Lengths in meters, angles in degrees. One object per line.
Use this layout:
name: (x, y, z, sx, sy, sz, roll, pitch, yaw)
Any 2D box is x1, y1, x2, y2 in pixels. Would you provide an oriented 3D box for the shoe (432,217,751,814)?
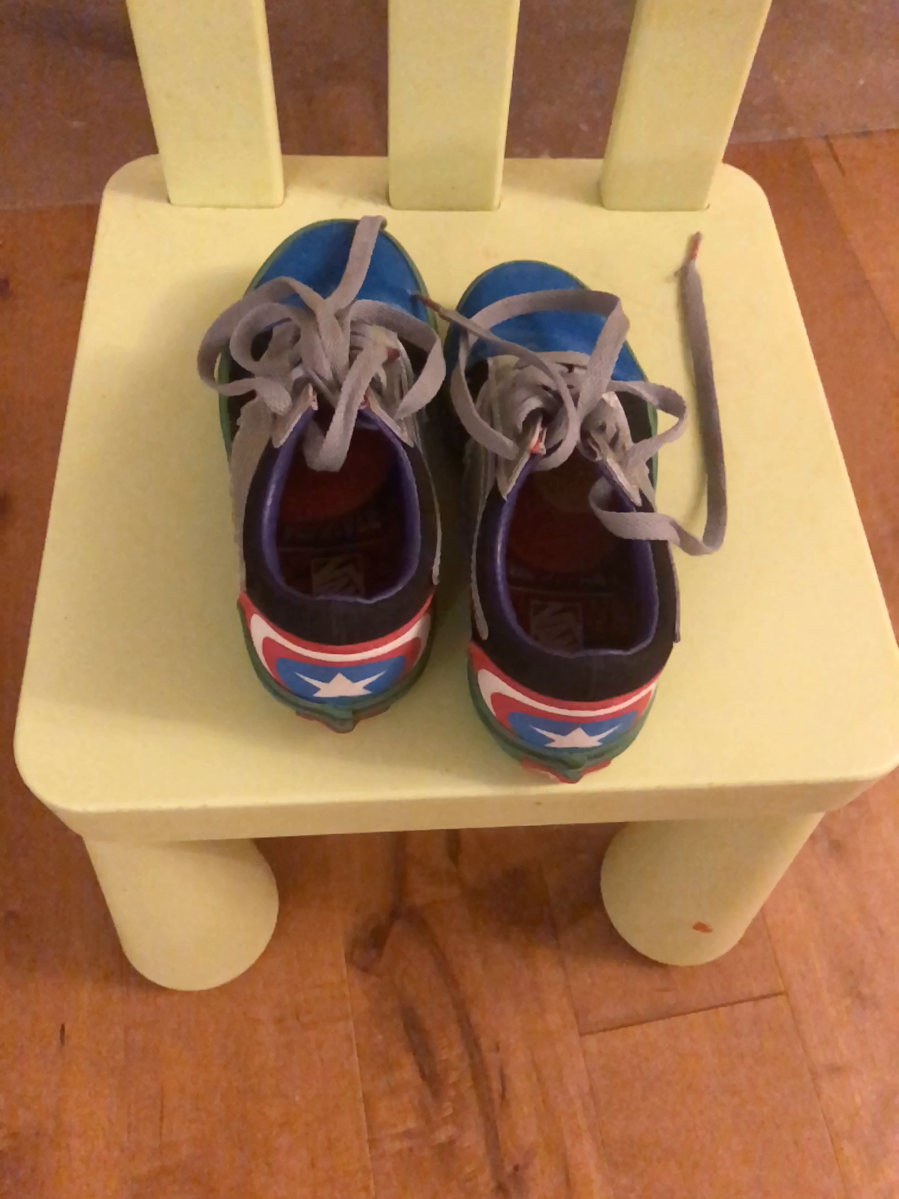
shoe: (0.036, -0.031, 0.333, 0.080, 0.070, 0.191, 0, 64, -3)

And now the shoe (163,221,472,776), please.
shoe: (-0.042, -0.039, 0.368, 0.090, 0.080, 0.191, 0, 64, -3)
